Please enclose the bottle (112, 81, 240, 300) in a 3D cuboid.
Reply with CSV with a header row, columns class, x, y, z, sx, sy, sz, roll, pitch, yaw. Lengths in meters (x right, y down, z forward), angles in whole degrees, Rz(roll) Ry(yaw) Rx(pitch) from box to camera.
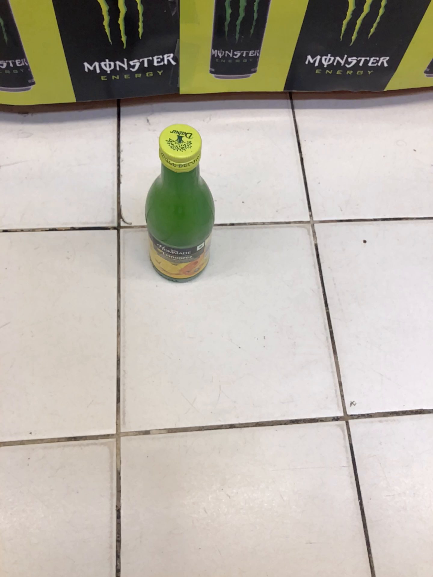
class,x,y,z,sx,sy,sz,roll,pitch,yaw
bottle,-0.031,-0.063,0.382,0.070,0.179,0.070,2,66,-4
